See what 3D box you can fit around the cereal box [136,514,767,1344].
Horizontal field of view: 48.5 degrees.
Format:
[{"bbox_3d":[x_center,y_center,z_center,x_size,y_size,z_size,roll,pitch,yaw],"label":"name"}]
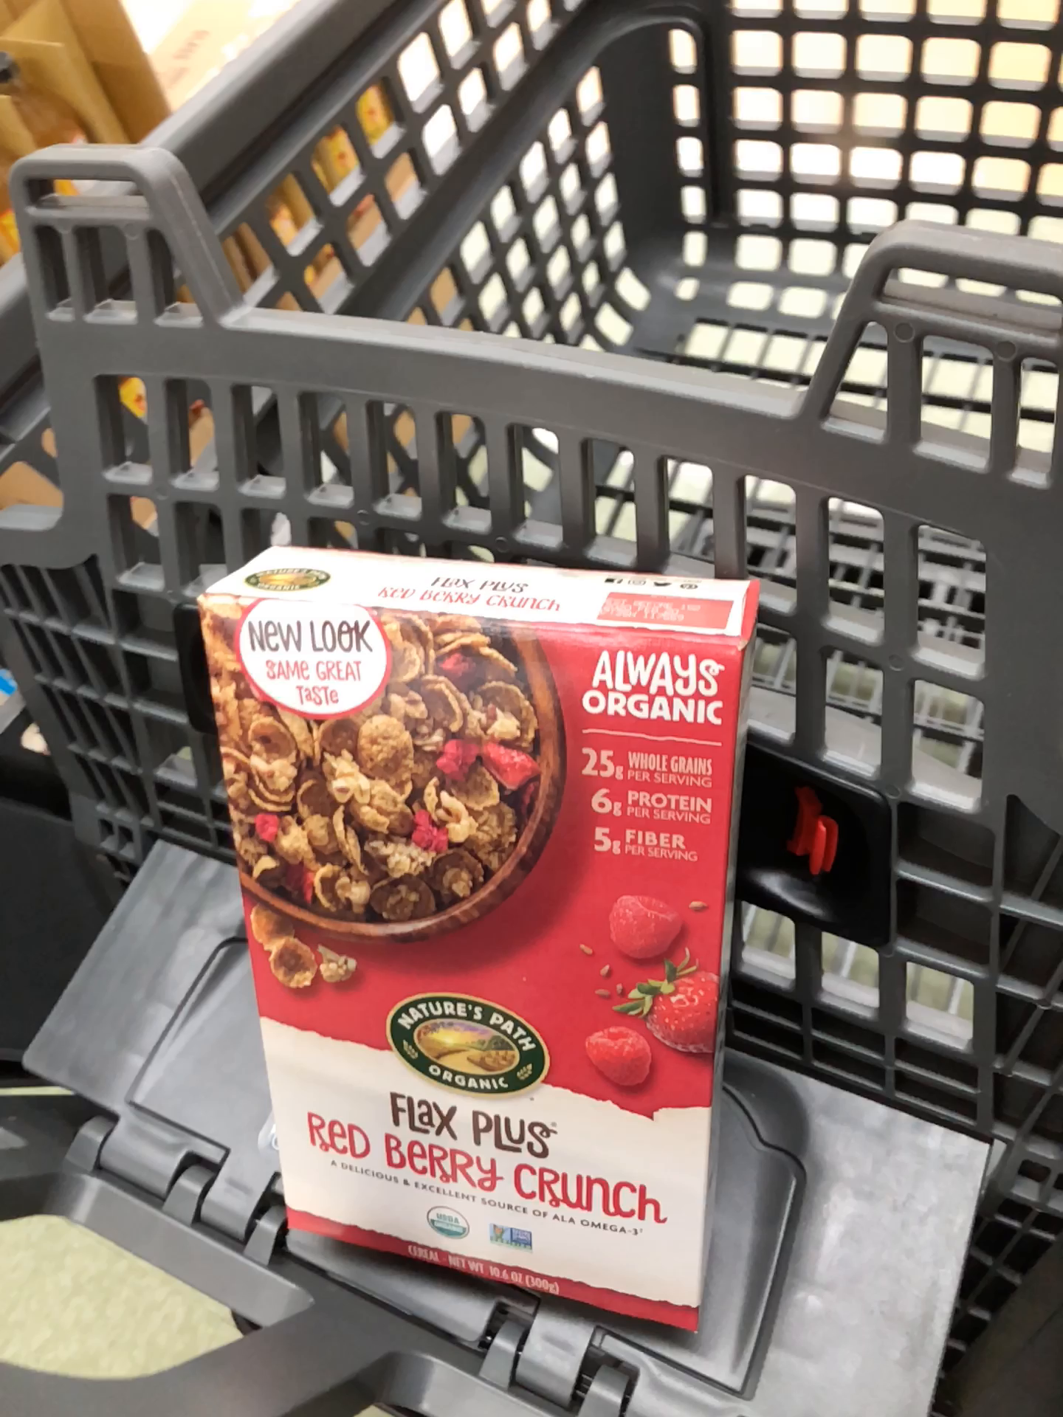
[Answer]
[{"bbox_3d":[-0.020,0.071,0.393,0.170,0.250,0.070,6,24,17],"label":"cereal box"}]
